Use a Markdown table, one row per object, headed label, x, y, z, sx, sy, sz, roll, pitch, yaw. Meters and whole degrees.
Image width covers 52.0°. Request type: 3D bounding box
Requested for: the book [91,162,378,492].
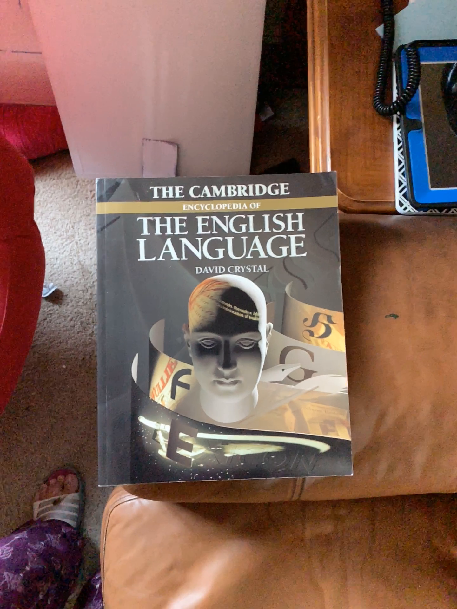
| label | x | y | z | sx | sy | sz | roll | pitch | yaw |
| --- | --- | --- | --- | --- | --- | --- | --- | --- | --- |
| book | 0.001 | 0.014 | 0.432 | 0.240 | 0.050 | 0.280 | -2 | 83 | -3 |
